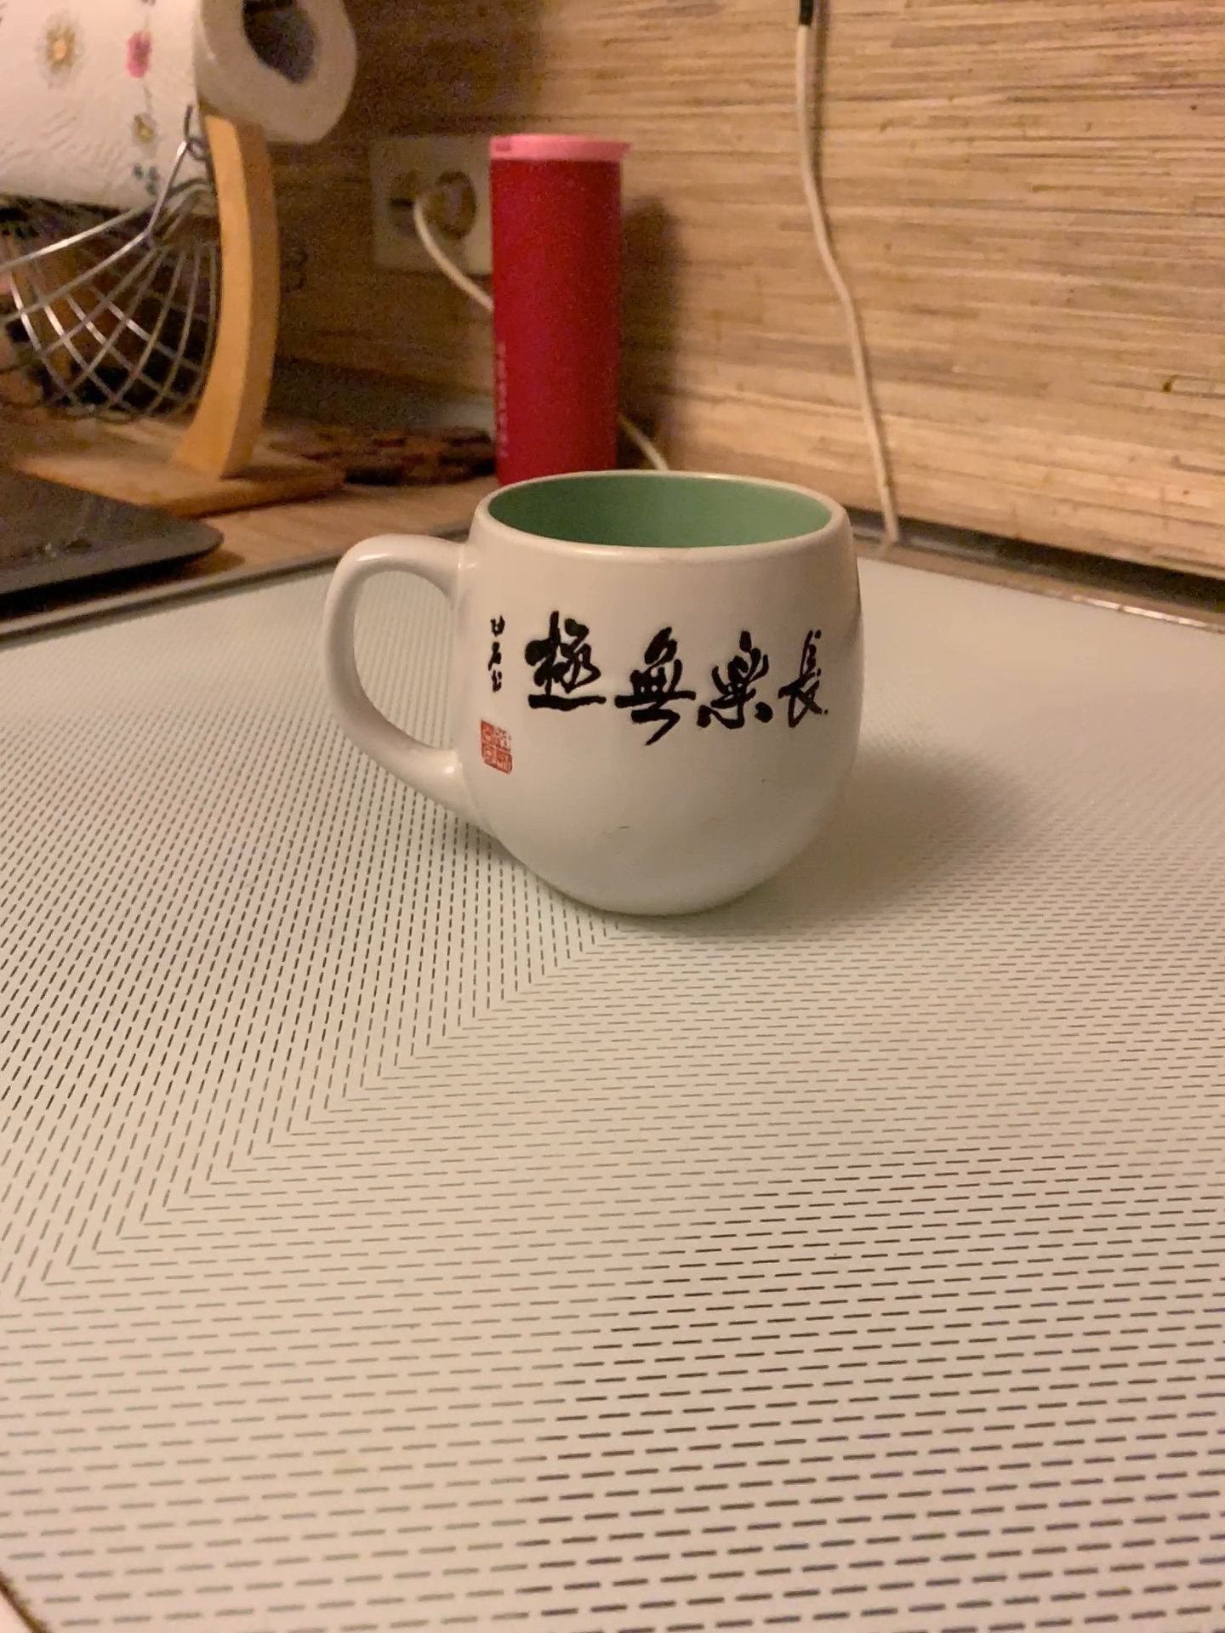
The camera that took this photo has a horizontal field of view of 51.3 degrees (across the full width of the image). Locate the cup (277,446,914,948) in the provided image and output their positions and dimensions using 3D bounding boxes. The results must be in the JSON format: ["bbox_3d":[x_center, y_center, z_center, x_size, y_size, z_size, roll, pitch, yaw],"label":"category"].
[{"bbox_3d":[-0.008,-0.033,0.304,0.124,0.091,0.088,-1,26,-7],"label":"cup"}]
